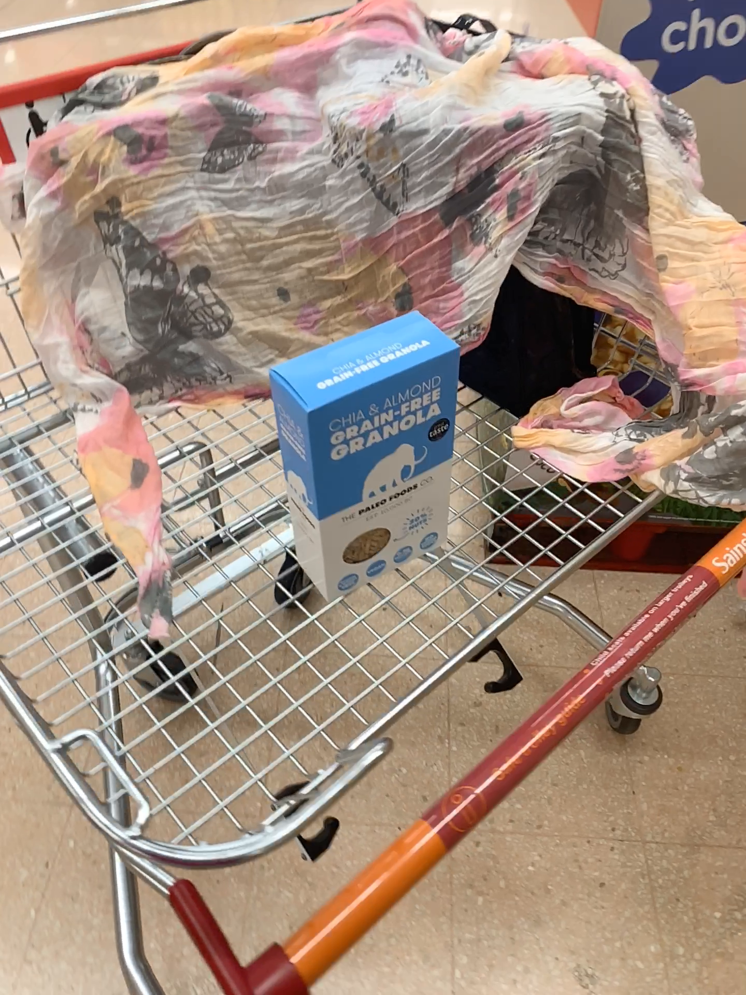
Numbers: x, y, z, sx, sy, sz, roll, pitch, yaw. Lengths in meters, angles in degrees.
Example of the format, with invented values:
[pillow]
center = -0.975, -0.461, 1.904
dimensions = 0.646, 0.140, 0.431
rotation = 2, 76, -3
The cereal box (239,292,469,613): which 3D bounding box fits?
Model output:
[cereal box]
center = -0.011, -0.028, 0.571
dimensions = 0.140, 0.208, 0.060
rotation = -25, 51, -23
